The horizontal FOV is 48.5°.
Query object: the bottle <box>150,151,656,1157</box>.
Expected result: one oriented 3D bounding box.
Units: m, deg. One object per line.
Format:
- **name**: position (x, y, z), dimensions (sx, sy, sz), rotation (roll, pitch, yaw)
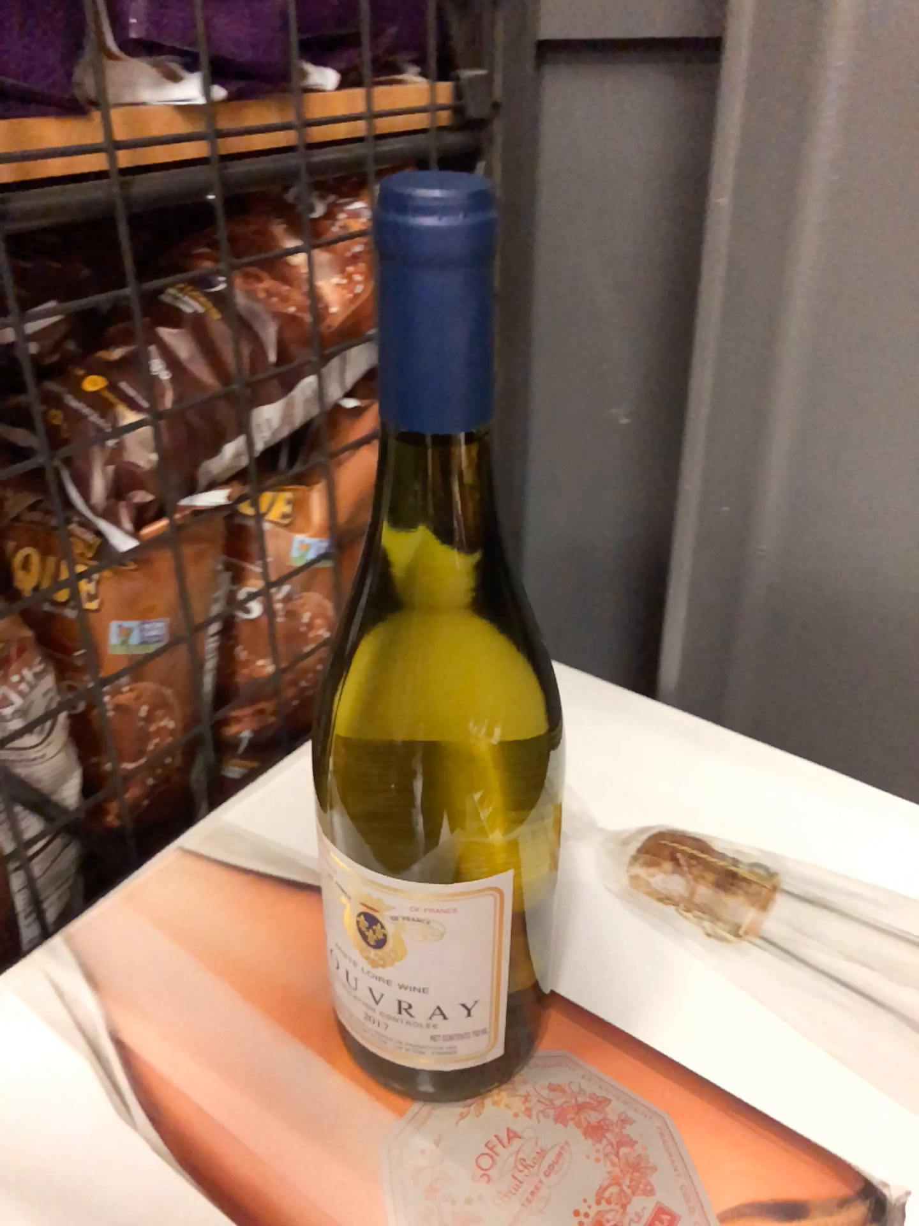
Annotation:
- **bottle**: position (-0.010, 0.020, 0.306), dimensions (0.085, 0.281, 0.083), rotation (-1, 29, 0)
